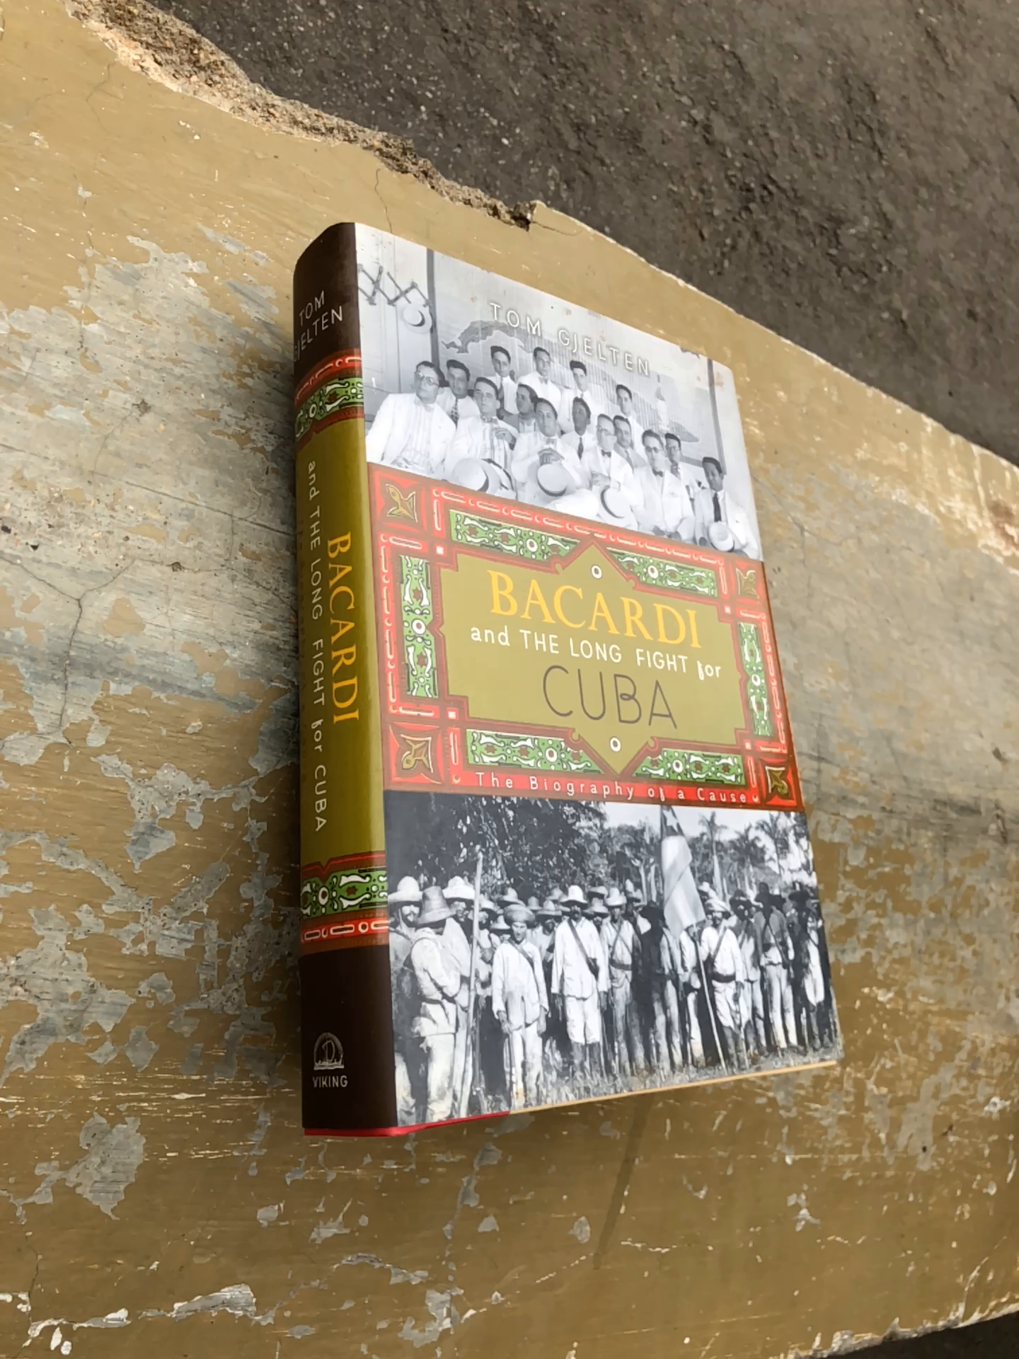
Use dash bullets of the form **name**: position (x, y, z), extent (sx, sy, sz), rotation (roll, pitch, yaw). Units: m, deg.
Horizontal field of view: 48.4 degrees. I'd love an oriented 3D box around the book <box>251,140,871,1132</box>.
- **book**: position (0.014, -0.009, 0.338), extent (0.171, 0.050, 0.250), rotation (9, 68, -37)
